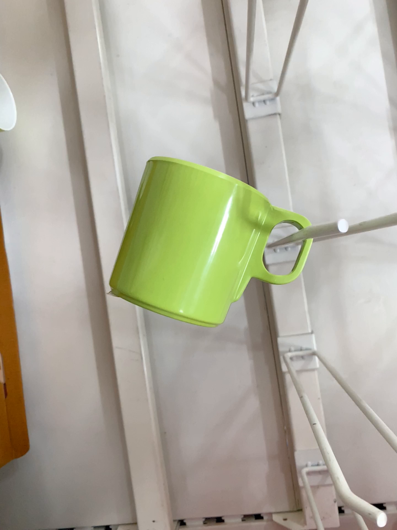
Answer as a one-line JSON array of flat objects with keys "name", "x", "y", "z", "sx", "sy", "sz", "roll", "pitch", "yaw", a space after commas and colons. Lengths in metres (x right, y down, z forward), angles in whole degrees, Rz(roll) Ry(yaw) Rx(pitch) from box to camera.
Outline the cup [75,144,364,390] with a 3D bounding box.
[{"name": "cup", "x": 0.011, "y": -0.001, "z": 0.236, "sx": 0.100, "sy": 0.110, "sz": 0.080, "roll": -46, "pitch": 154, "yaw": -88}]
